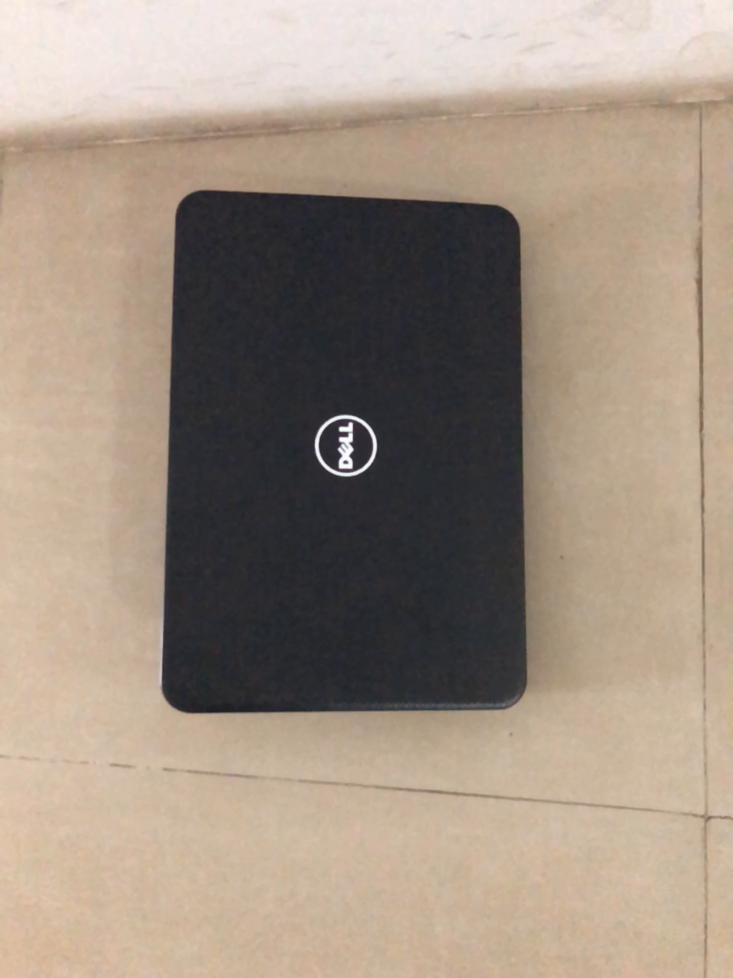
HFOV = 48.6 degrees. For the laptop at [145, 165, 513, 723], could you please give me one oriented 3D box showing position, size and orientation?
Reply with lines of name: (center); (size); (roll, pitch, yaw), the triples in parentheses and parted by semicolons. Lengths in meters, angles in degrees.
laptop: (-0.024, -0.027, 0.580); (0.247, 0.078, 0.357); (-1, 85, 13)
